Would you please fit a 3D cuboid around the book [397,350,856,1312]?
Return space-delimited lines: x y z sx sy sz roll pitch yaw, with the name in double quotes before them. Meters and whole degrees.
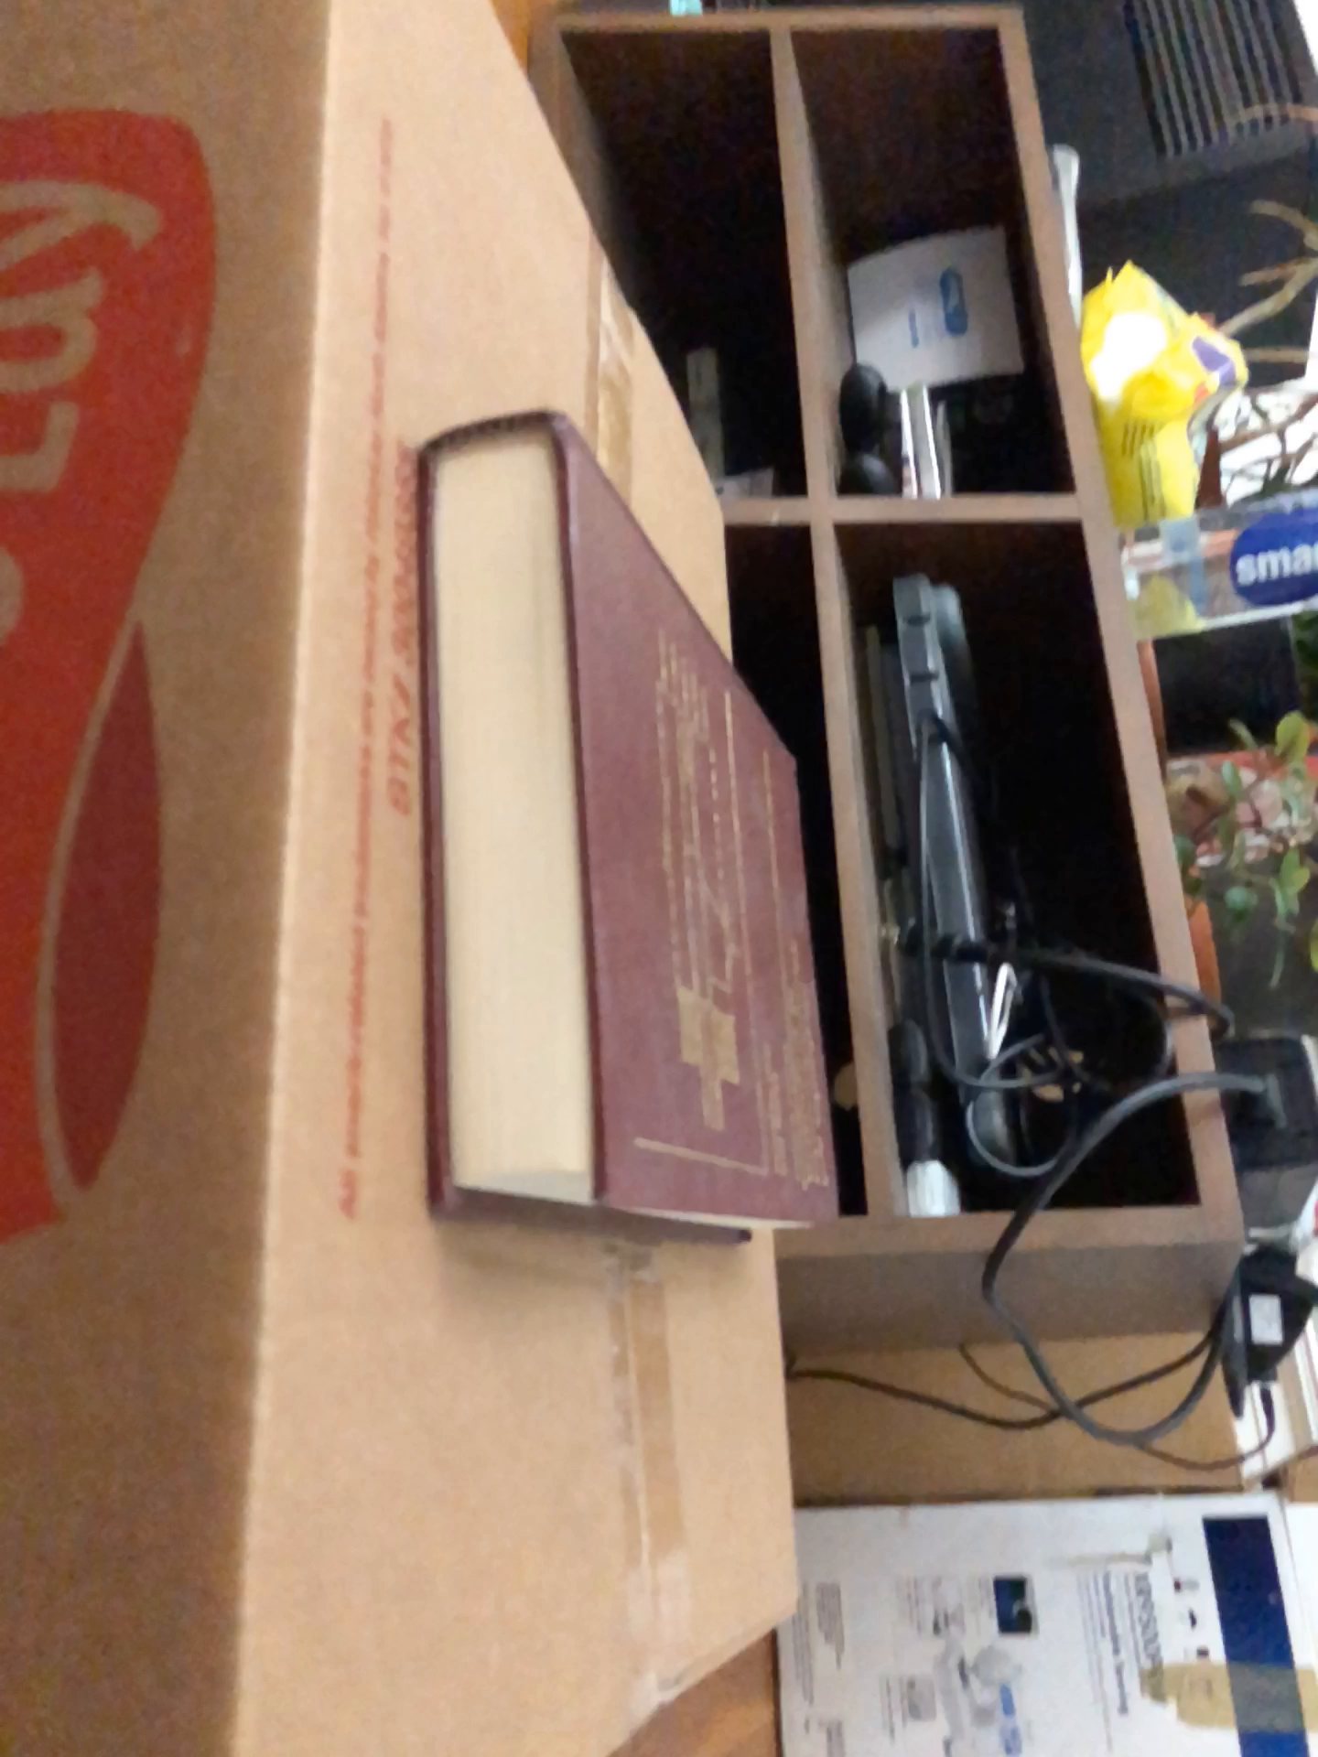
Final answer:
"book" 0.004 0.015 0.388 0.241 0.040 0.190 43 40 -67
